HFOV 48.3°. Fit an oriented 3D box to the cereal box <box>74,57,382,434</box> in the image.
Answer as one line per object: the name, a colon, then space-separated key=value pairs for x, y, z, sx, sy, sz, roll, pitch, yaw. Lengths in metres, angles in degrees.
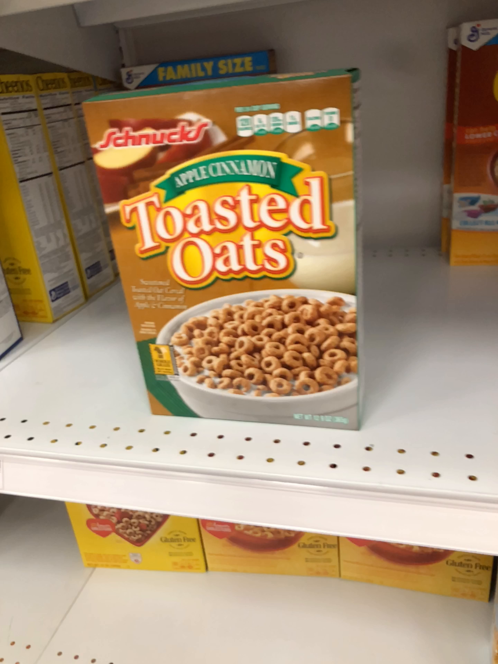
cereal box: x=-0.003 y=-0.058 z=0.452 sx=0.210 sy=0.279 sz=0.060 roll=2 pitch=27 yaw=16
